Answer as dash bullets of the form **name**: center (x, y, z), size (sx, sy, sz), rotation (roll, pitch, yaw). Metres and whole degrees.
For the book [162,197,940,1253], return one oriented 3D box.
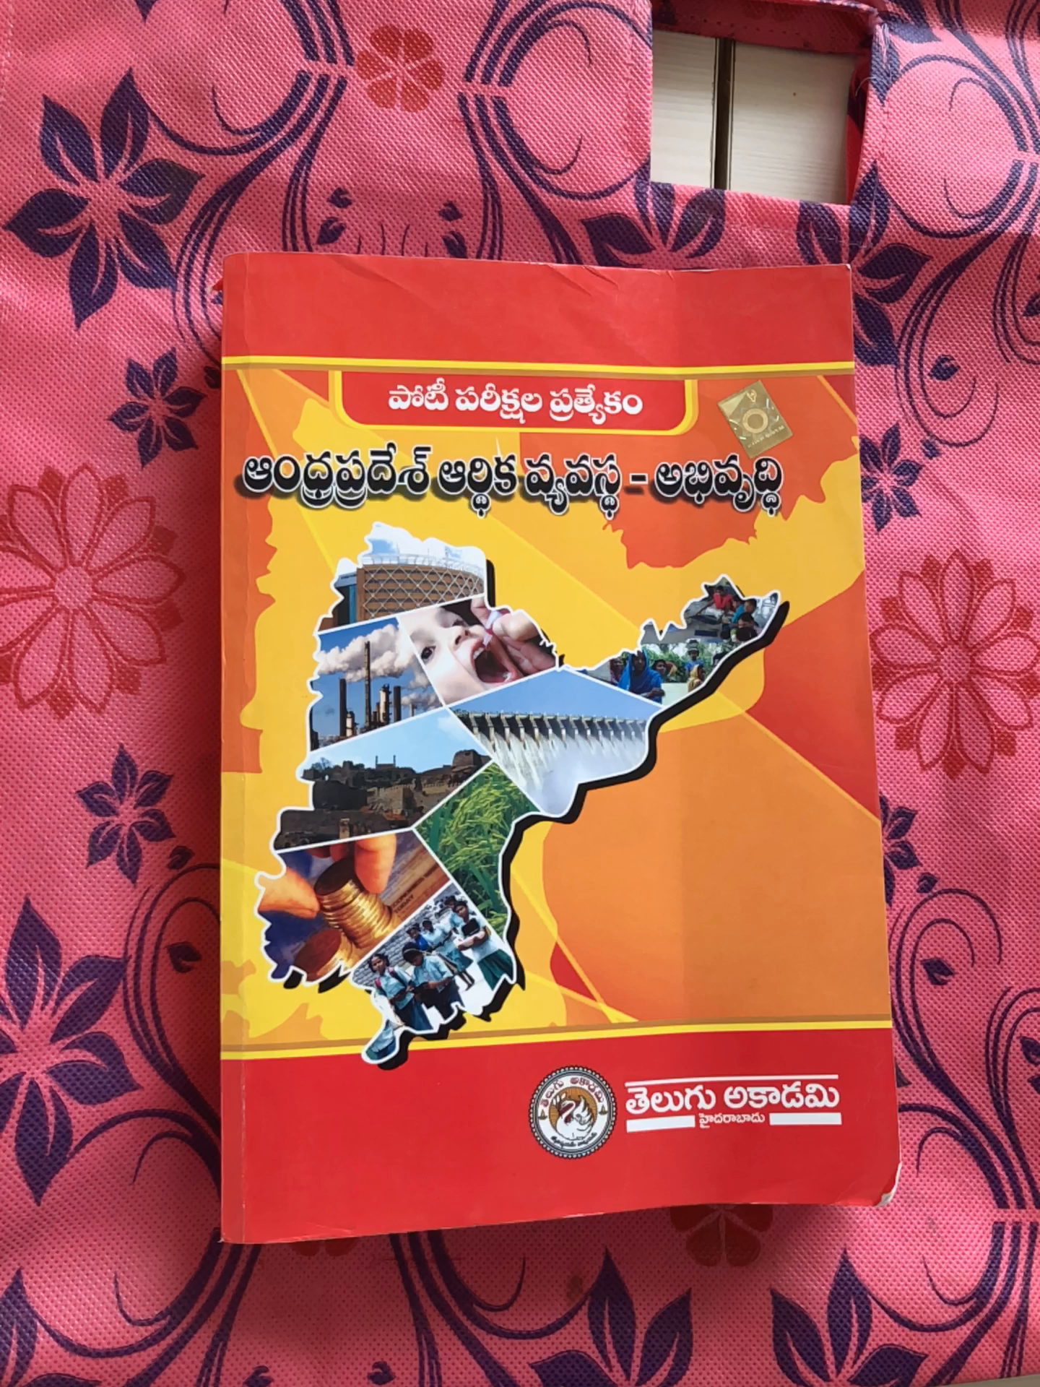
- **book**: center (0.007, 0.006, 0.329), size (0.200, 0.060, 0.260), rotation (0, 87, -8)
